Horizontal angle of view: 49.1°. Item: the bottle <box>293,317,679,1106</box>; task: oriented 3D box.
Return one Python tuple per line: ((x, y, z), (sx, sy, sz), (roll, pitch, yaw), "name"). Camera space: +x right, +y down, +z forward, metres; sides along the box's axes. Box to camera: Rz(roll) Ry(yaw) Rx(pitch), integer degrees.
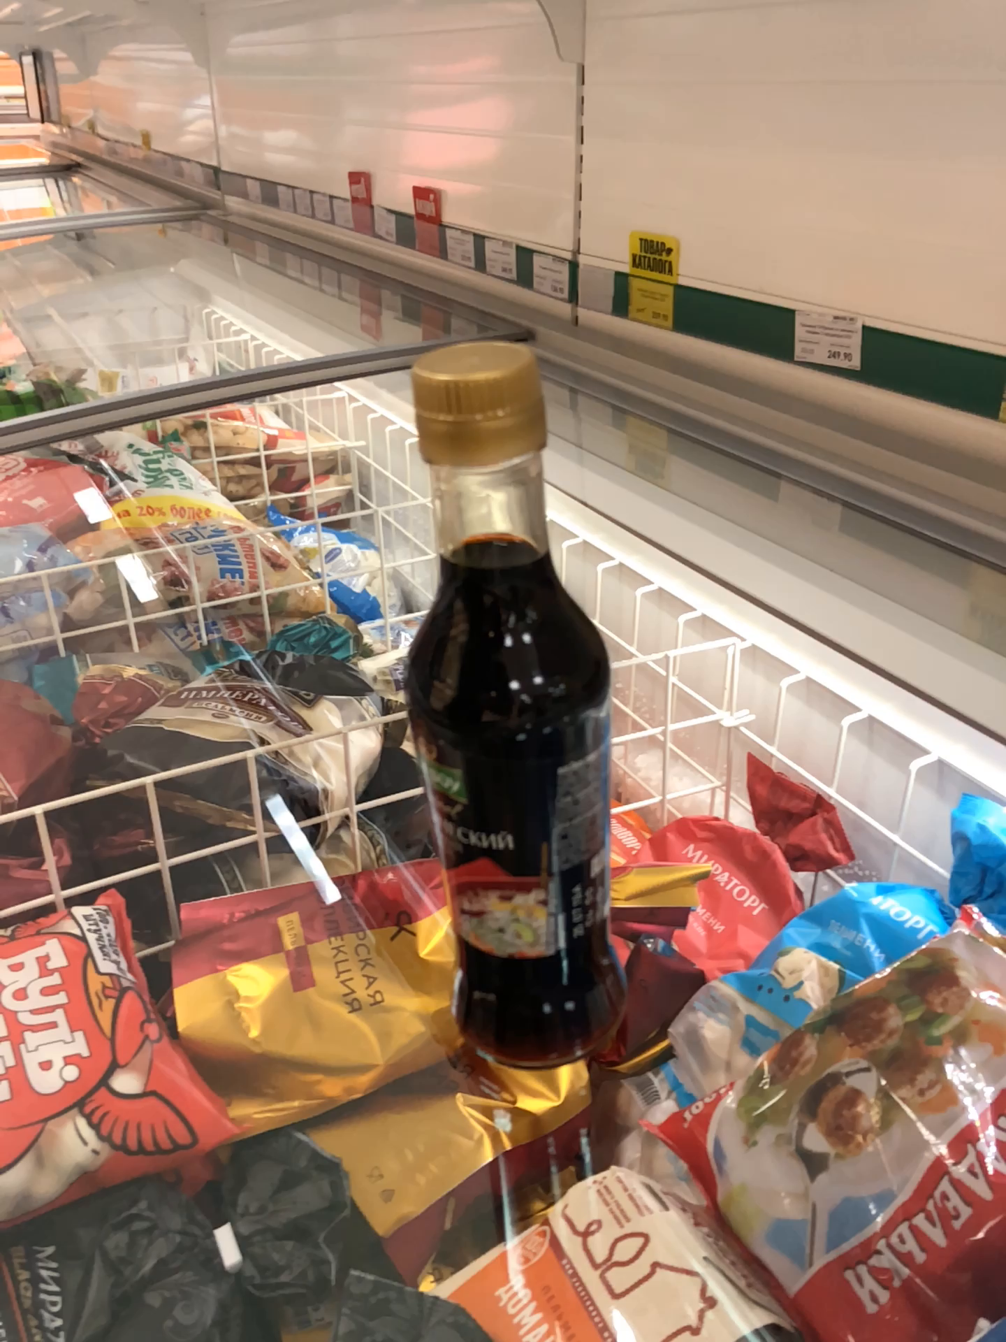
((0.004, 0.016, 0.288), (0.058, 0.192, 0.060), (-4, 32, 2), "bottle")
